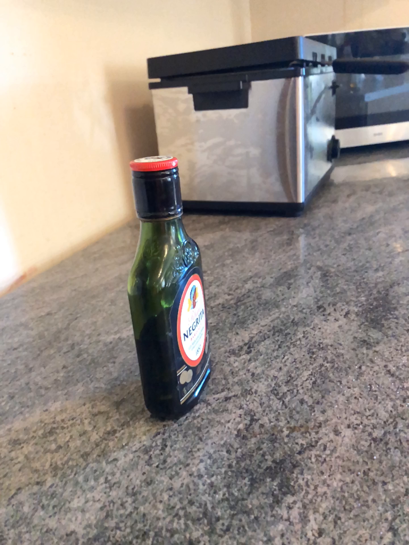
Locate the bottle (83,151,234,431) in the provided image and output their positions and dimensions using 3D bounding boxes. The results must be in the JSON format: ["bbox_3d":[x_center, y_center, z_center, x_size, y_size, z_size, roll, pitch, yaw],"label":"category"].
[{"bbox_3d":[-0.021,0.009,0.298,0.050,0.159,0.080,2,22,20],"label":"bottle"}]
